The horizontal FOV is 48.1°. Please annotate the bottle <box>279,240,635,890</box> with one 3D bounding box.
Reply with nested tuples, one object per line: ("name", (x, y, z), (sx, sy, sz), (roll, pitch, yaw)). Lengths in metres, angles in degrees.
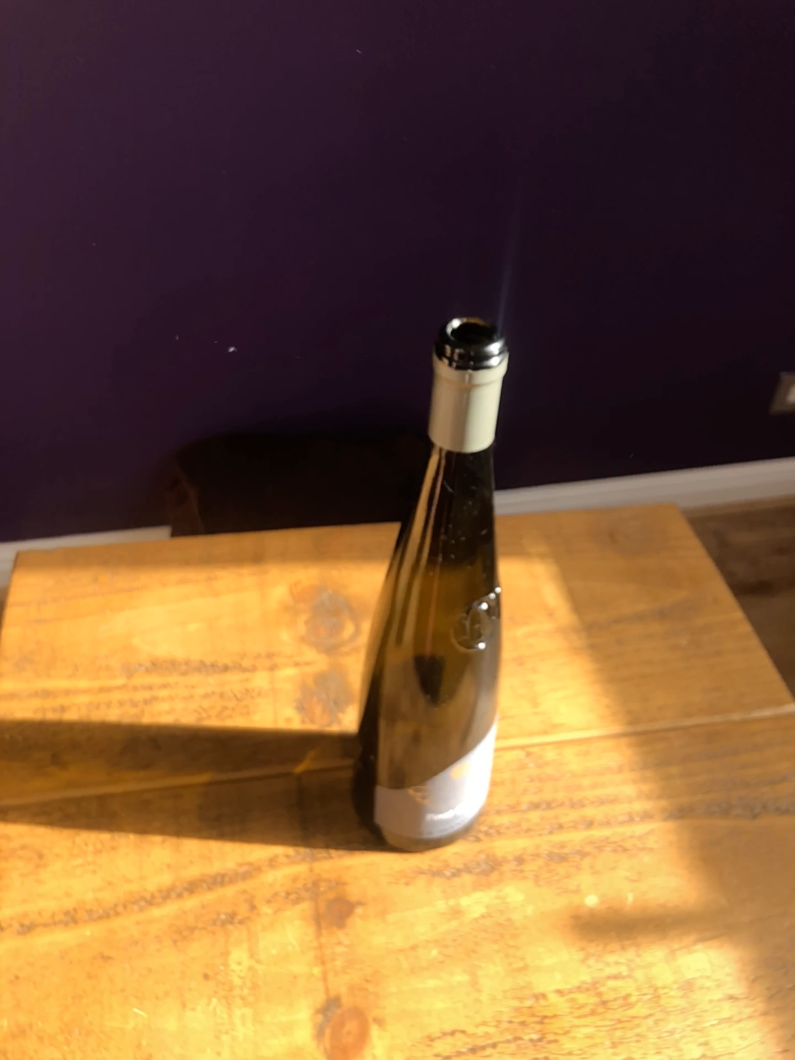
("bottle", (0.013, 0.040, 0.465), (0.100, 0.337, 0.100), (2, 42, -2))
